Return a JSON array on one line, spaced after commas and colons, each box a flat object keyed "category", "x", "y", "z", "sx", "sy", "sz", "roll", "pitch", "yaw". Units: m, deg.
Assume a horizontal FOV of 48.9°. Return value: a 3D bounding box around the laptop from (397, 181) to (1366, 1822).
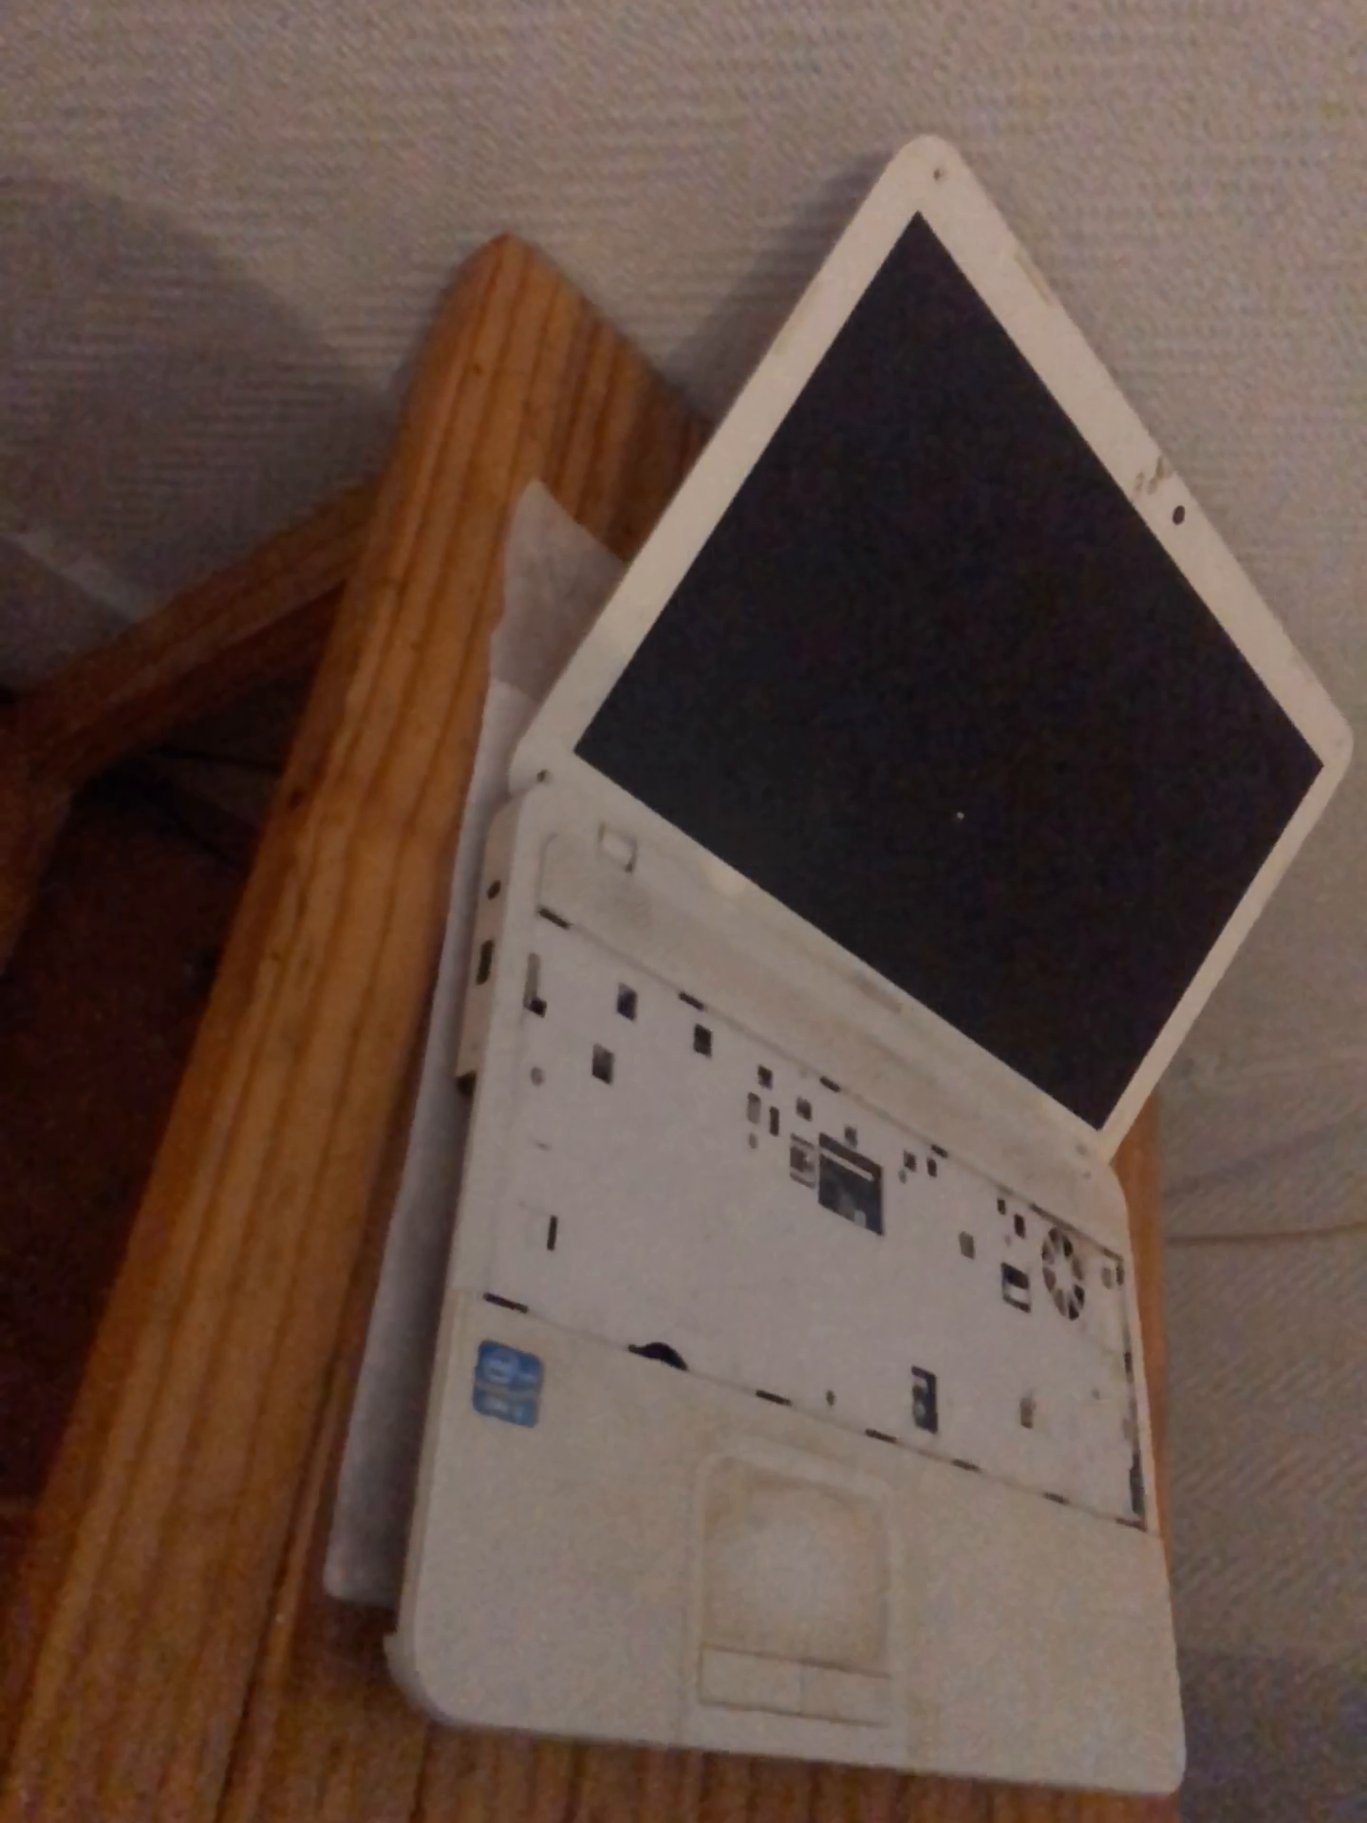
[{"category": "laptop", "x": 0.120, "y": 0.050, "z": 0.502, "sx": 0.373, "sy": 0.117, "sz": 0.419, "roll": 35, "pitch": 47, "yaw": -39}]
